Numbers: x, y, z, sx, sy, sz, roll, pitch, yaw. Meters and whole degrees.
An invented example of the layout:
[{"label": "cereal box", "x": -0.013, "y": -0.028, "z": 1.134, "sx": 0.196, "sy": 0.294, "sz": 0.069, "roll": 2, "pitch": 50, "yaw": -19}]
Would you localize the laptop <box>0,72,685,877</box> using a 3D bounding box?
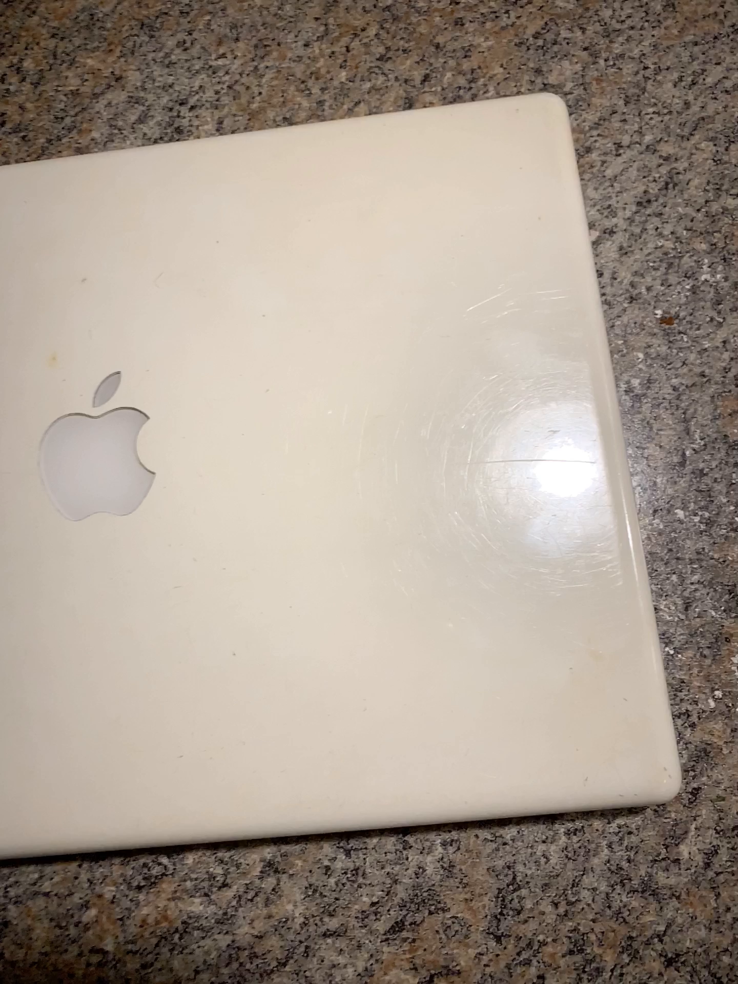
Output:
[{"label": "laptop", "x": -0.086, "y": -0.007, "z": 0.222, "sx": 0.305, "sy": 0.002, "sz": 0.205, "roll": -7, "pitch": 77, "yaw": 7}]
